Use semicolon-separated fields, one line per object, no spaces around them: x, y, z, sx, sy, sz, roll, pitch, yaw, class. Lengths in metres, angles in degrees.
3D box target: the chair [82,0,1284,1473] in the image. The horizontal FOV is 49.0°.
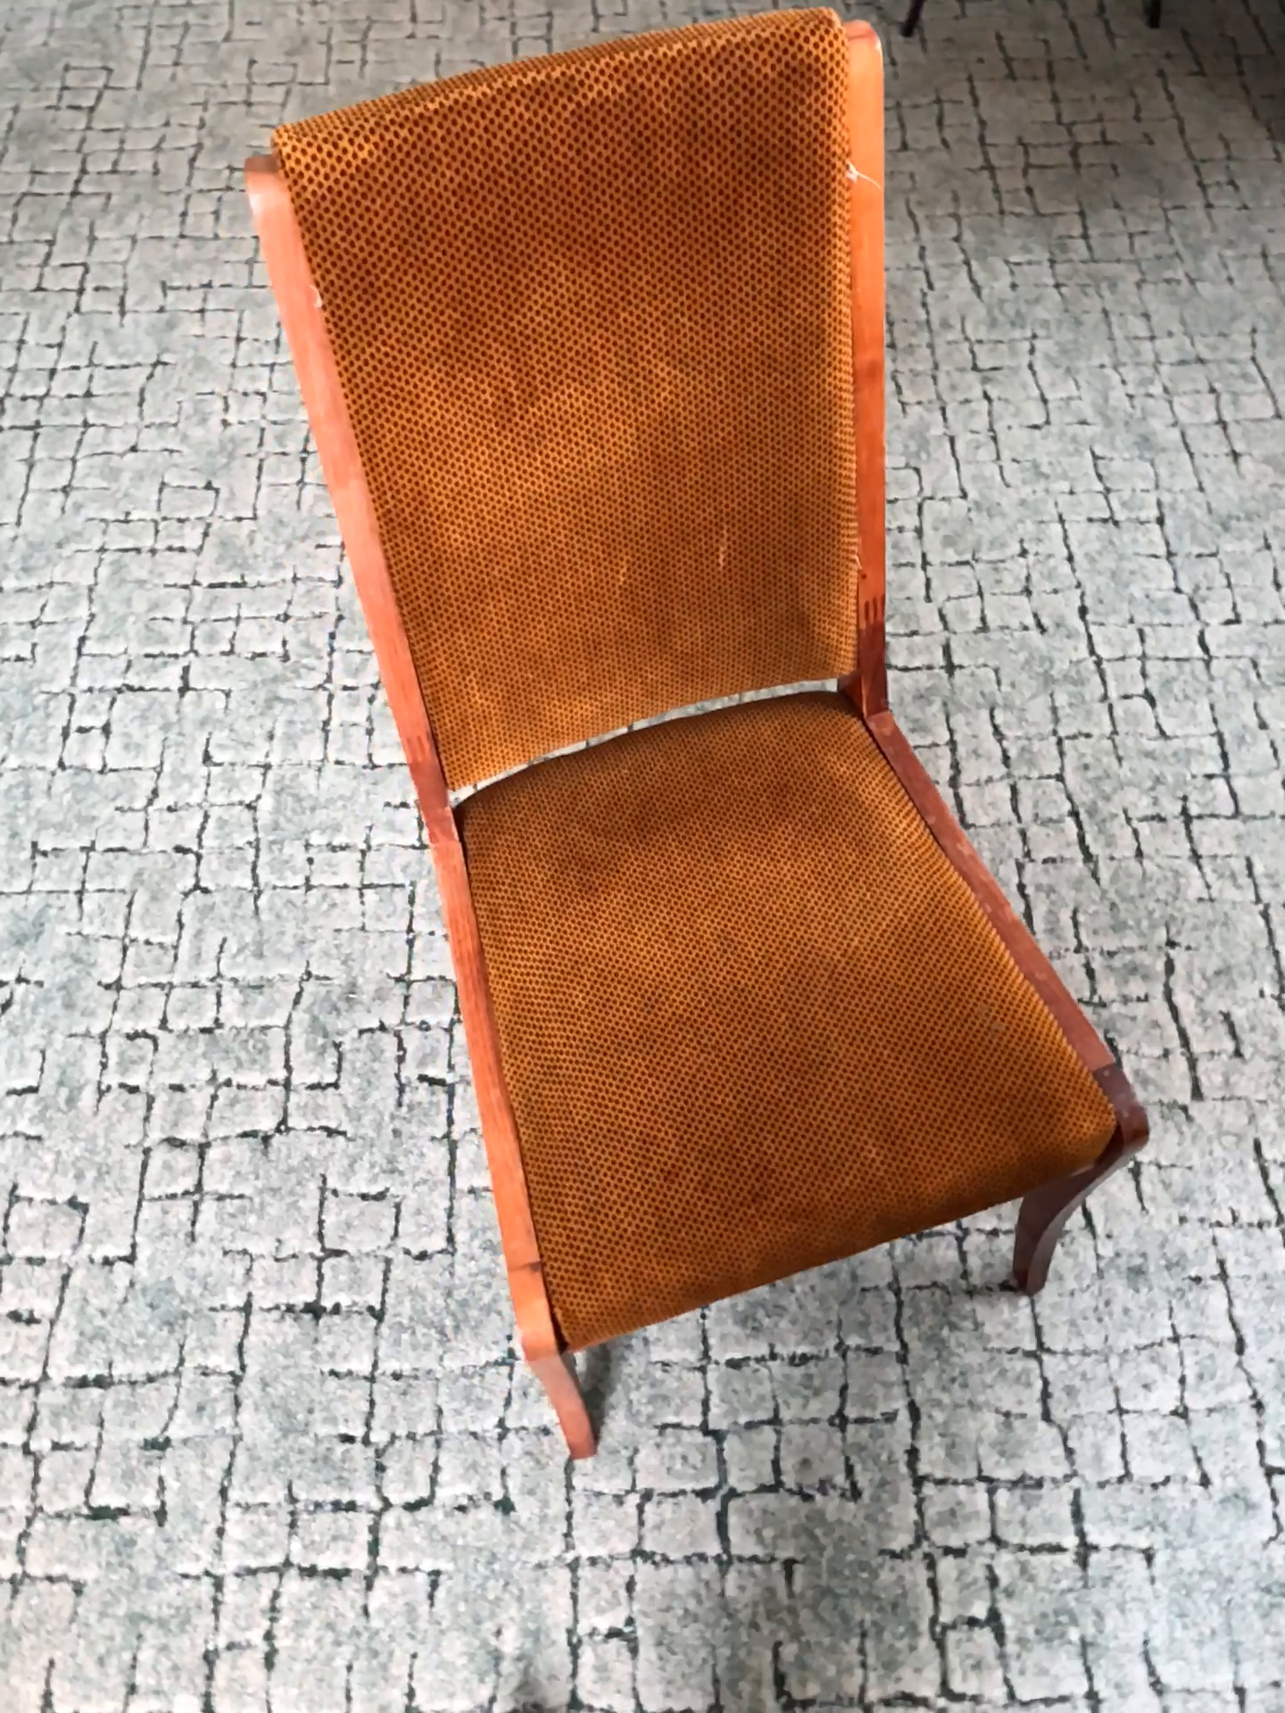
0.056;0.018;0.973;0.470;0.925;0.531;-17;61;-8;chair
